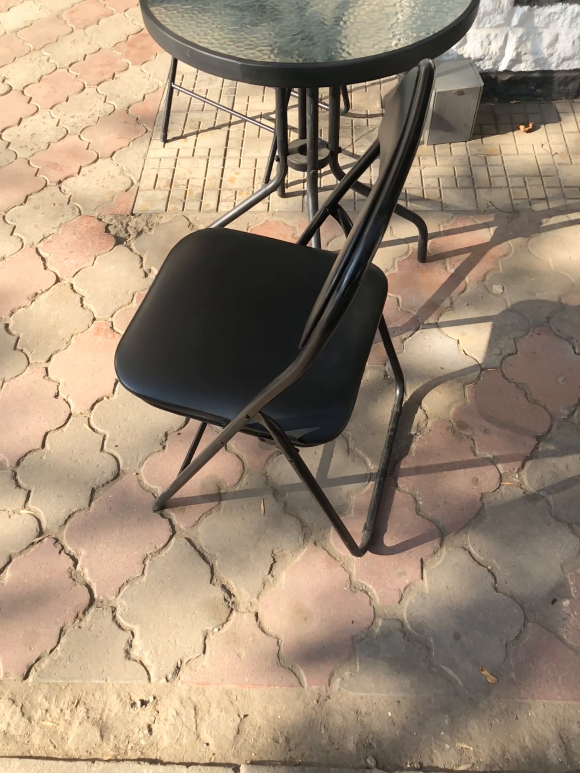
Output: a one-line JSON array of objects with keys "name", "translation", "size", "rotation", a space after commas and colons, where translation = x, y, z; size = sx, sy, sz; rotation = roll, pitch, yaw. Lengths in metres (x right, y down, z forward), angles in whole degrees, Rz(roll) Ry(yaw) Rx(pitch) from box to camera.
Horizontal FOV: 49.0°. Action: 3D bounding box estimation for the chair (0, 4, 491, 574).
[{"name": "chair", "translation": [-0.016, -0.115, 1.036], "size": [0.470, 0.698, 0.501], "rotation": [12, 55, 11]}]
